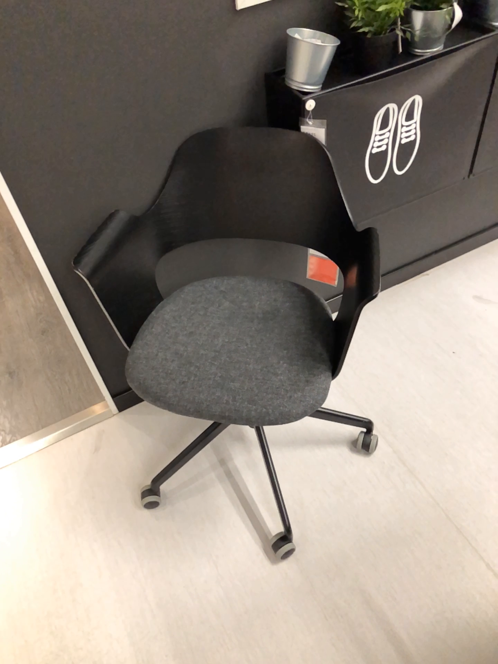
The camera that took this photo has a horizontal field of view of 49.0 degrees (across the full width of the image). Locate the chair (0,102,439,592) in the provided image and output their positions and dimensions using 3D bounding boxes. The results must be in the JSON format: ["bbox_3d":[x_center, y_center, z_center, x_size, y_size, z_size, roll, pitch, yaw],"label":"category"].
[{"bbox_3d":[-0.037,0.034,1.157,0.661,0.755,0.563,12,51,18],"label":"chair"}]
